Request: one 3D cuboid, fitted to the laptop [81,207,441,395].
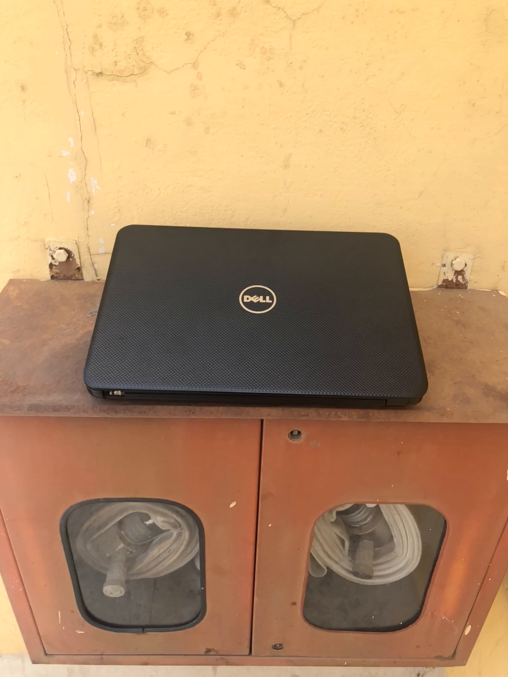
[{"bbox_3d":[0.009,-0.049,0.639,0.352,0.098,0.184,1,42,0],"label":"laptop"}]
